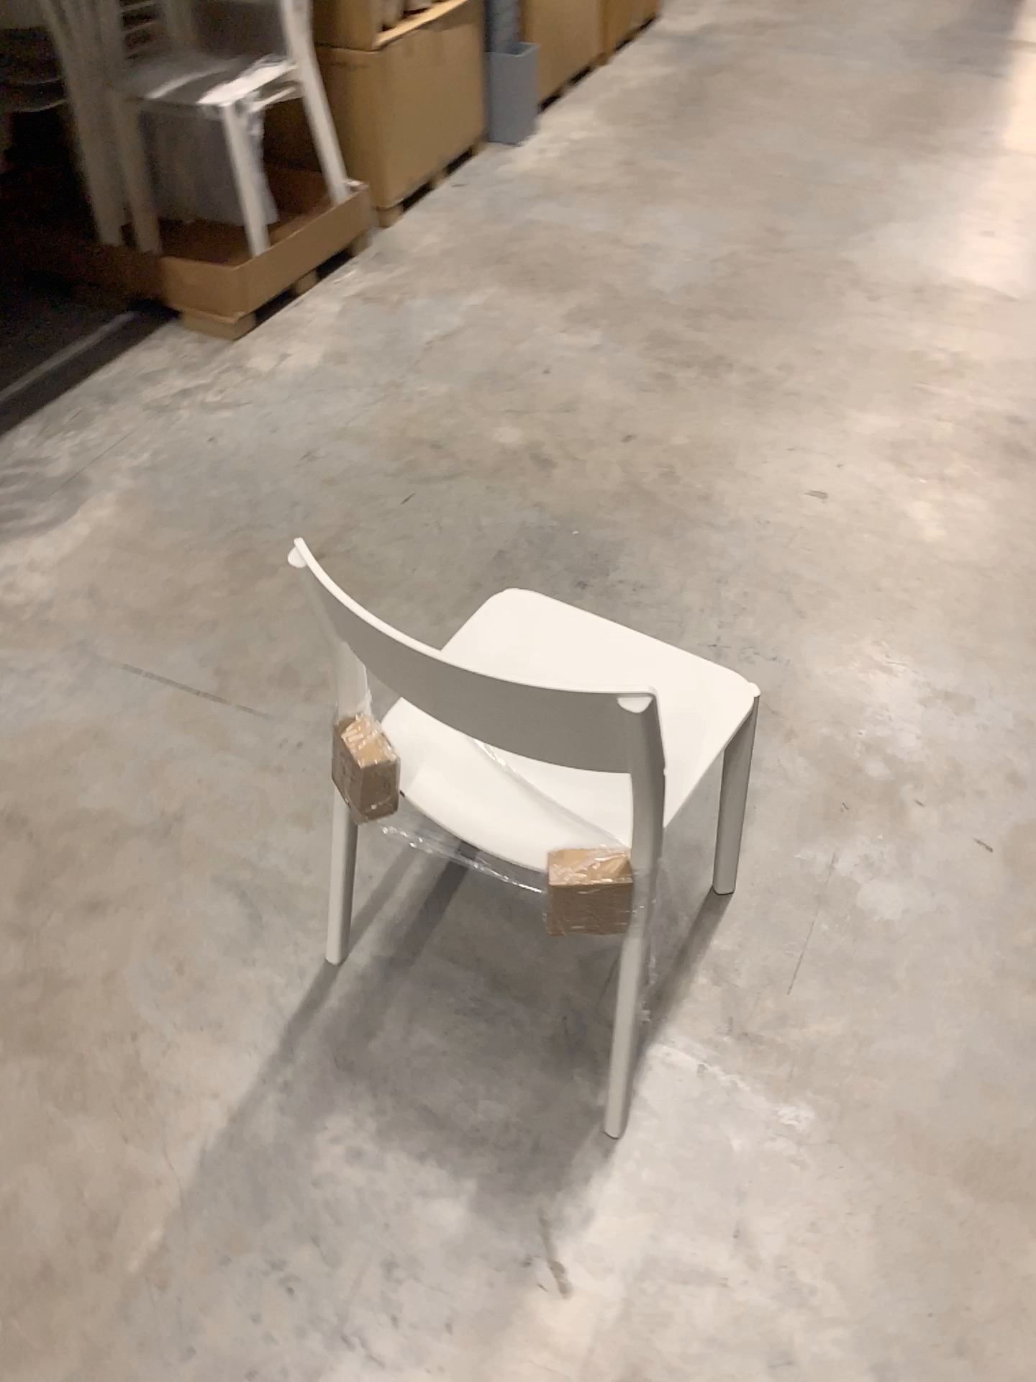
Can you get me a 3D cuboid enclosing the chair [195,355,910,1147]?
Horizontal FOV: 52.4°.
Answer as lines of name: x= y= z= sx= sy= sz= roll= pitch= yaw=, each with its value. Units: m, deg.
chair: x=0.058 y=0.057 z=1.266 sx=0.521 sy=0.618 sz=0.531 roll=22 pitch=49 yaw=21
